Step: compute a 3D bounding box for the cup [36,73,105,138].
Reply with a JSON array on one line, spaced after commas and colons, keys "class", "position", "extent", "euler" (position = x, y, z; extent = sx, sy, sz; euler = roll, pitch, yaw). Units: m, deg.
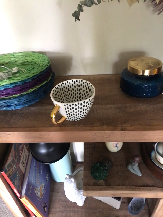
[{"class": "cup", "position": [-0.022, -0.015, 0.439], "extent": [0.100, 0.079, 0.131], "euler": [25, 46, 32]}]
